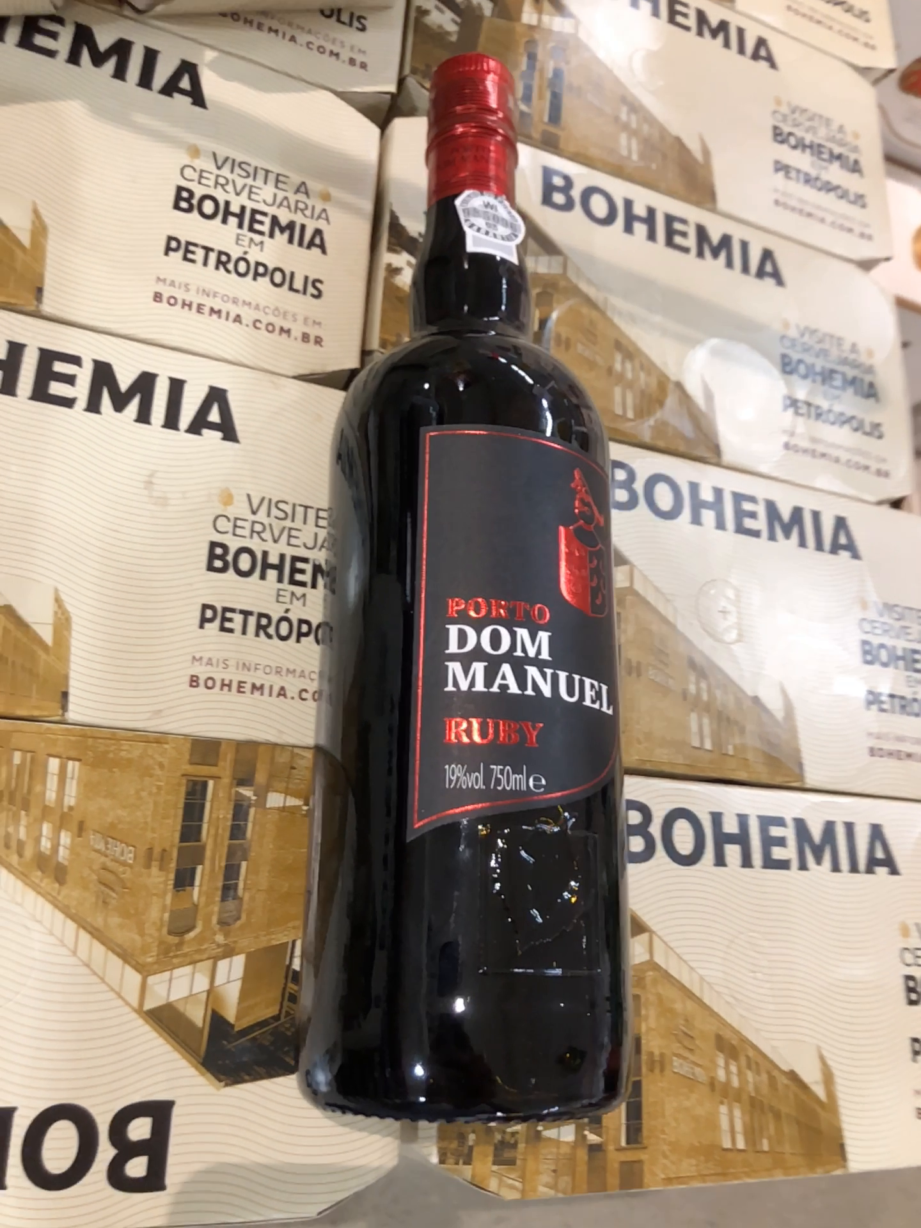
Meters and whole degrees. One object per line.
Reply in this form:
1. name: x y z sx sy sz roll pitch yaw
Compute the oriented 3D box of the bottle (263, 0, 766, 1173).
1. bottle: 0.012 -0.041 0.285 0.090 0.070 0.331 11 69 -28
